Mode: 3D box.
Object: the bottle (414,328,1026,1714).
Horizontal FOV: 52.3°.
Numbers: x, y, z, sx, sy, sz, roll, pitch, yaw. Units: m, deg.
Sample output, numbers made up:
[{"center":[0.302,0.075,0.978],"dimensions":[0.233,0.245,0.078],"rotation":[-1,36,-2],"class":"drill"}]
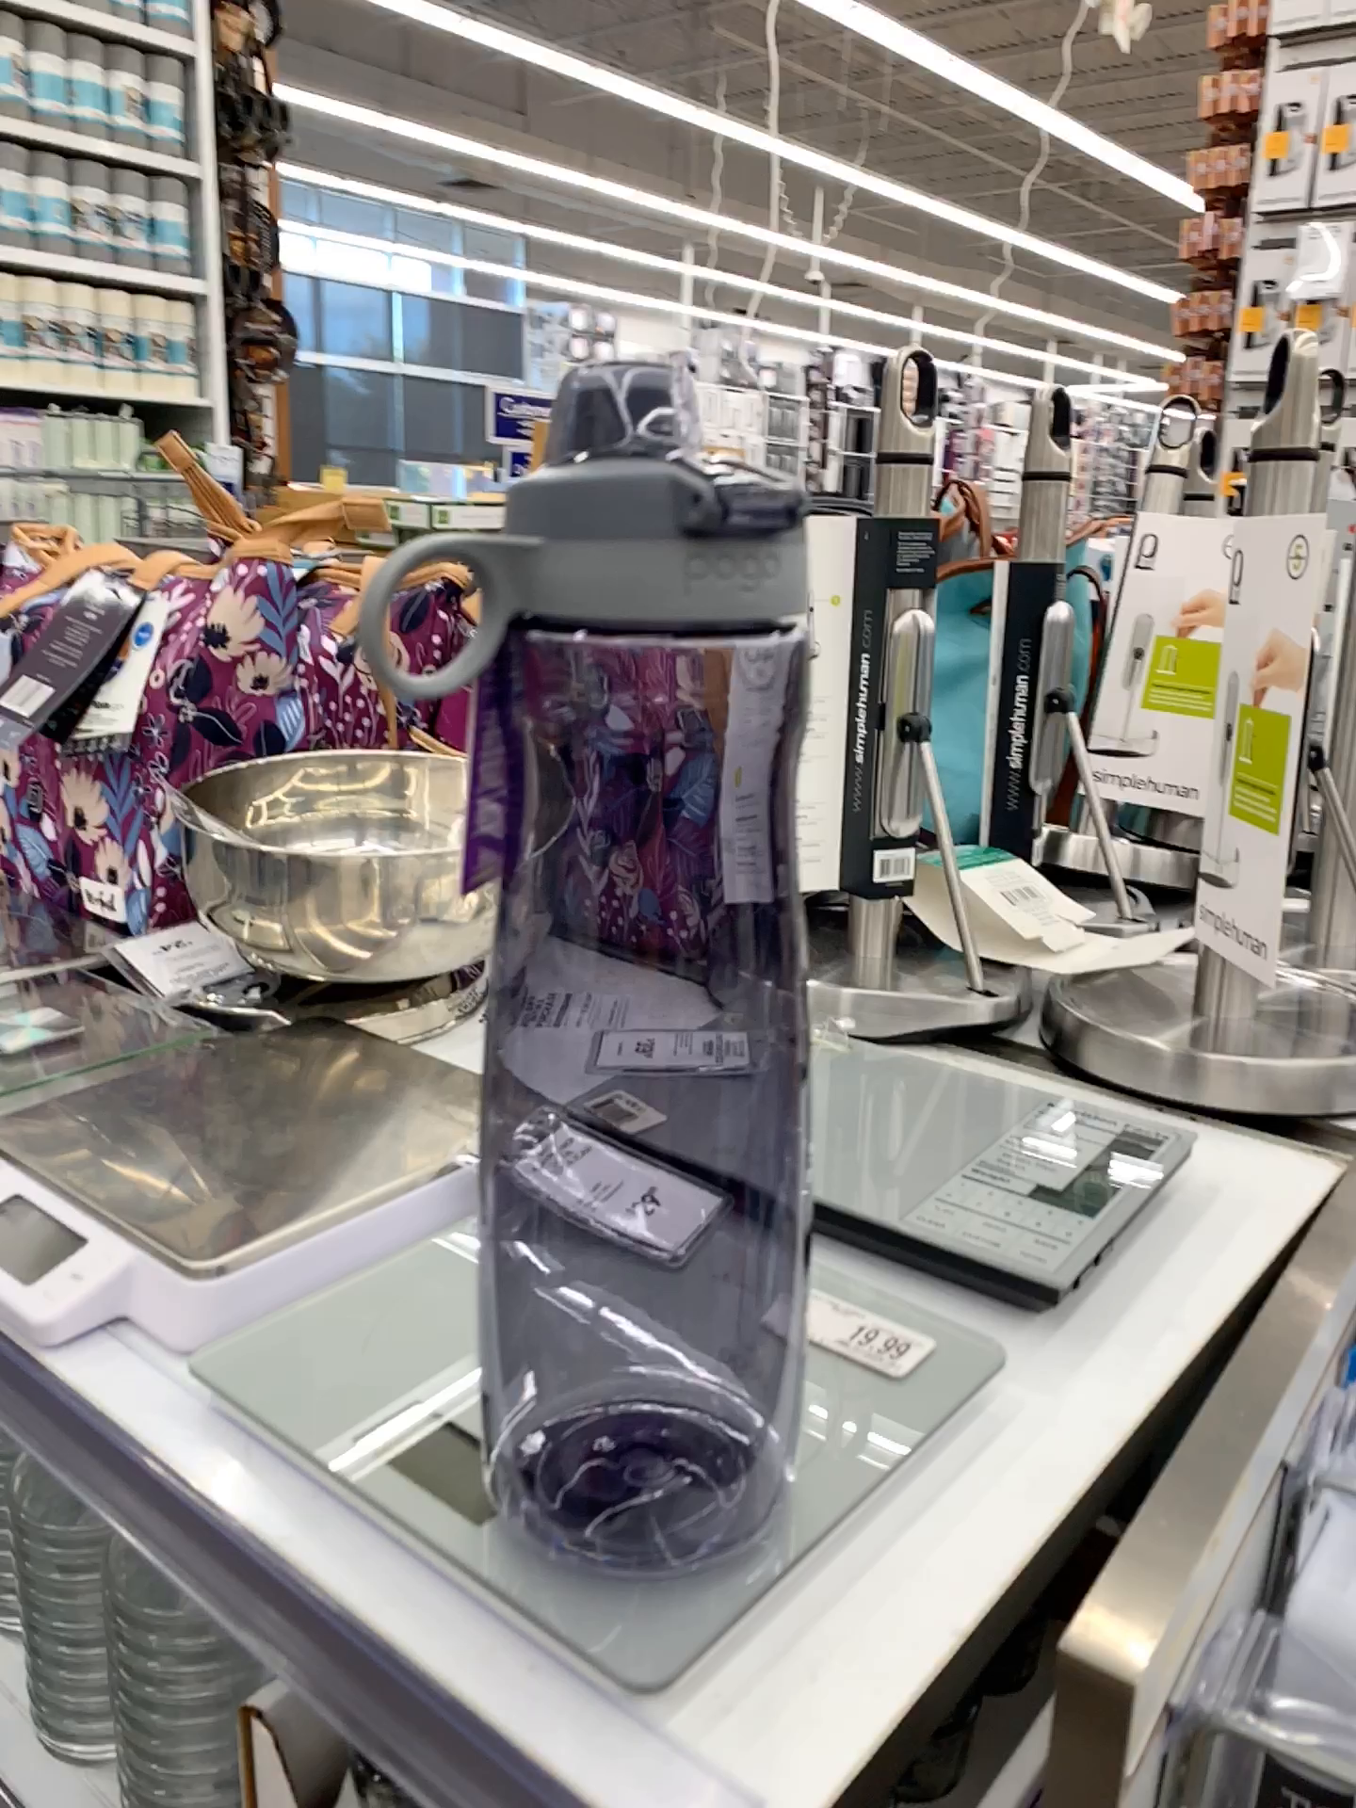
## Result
[{"center":[0.005,0.025,0.359],"dimensions":[0.100,0.309,0.100],"rotation":[2,15,0],"class":"bottle"}]
